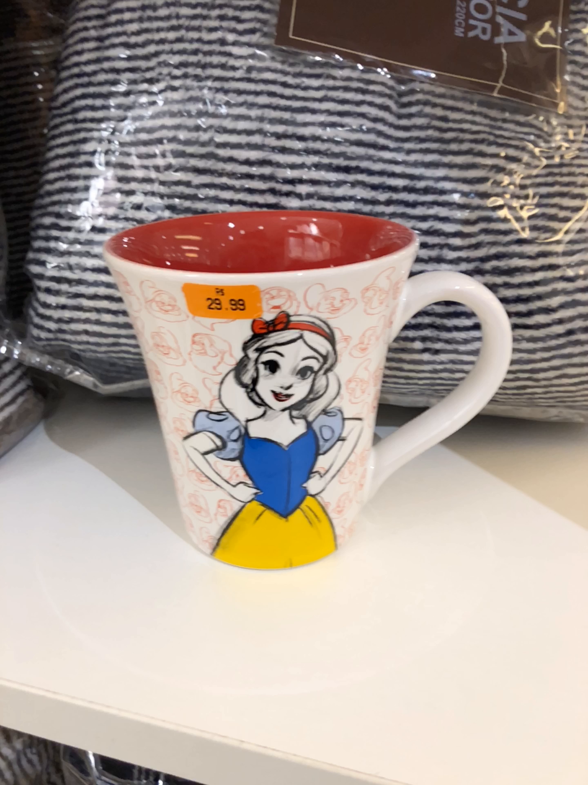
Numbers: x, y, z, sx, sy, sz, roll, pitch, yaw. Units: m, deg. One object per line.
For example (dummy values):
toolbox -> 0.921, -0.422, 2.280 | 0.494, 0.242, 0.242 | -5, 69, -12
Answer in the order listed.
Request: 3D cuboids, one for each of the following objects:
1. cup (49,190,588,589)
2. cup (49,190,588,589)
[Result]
cup -> 0.009, -0.007, 0.201 | 0.120, 0.089, 0.091 | -1, 25, 1
cup -> 0.009, -0.007, 0.201 | 0.120, 0.089, 0.091 | -1, 25, 1
